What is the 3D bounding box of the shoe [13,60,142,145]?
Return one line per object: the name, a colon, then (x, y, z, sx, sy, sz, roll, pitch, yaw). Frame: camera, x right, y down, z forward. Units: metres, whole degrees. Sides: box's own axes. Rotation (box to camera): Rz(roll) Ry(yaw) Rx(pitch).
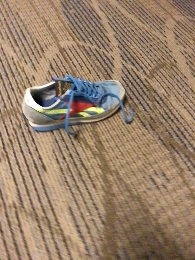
shoe: (-0.043, -0.069, 0.498, 0.260, 0.095, 0.101, -18, 62, -17)
